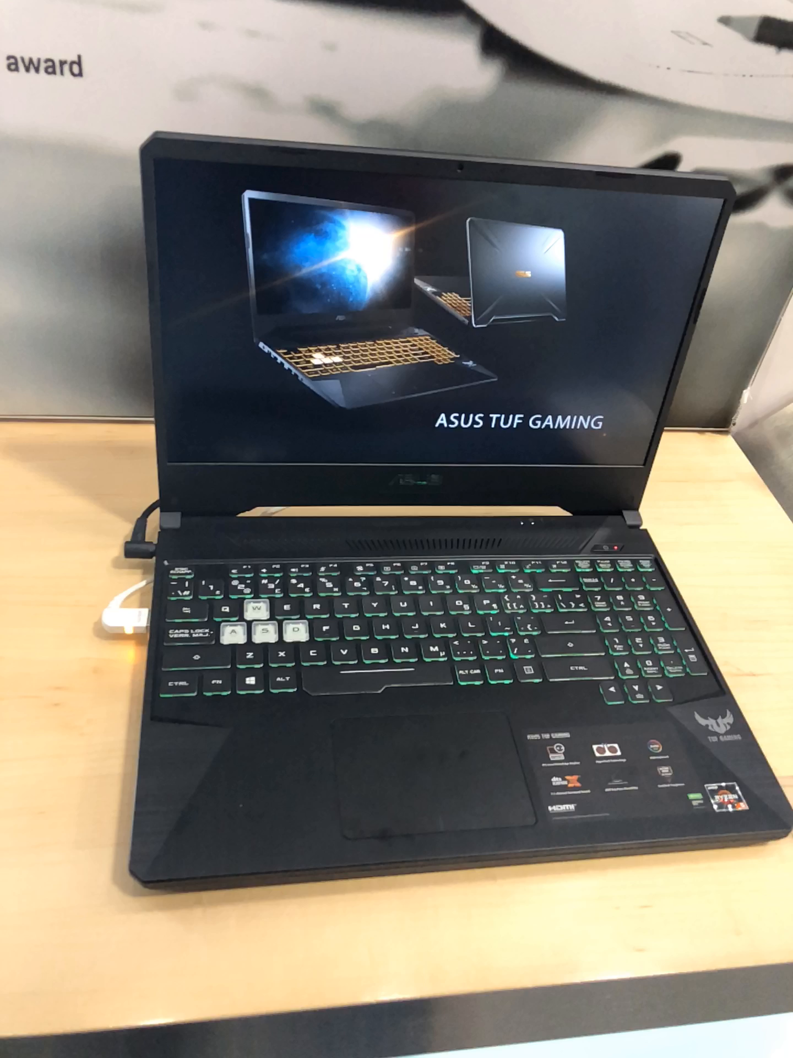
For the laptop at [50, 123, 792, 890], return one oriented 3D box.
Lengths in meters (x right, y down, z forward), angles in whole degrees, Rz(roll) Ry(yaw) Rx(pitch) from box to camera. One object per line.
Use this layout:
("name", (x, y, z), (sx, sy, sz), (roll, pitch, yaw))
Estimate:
("laptop", (0.039, -0.028, 0.480), (0.359, 0.245, 0.310), (-1, 43, -11))
